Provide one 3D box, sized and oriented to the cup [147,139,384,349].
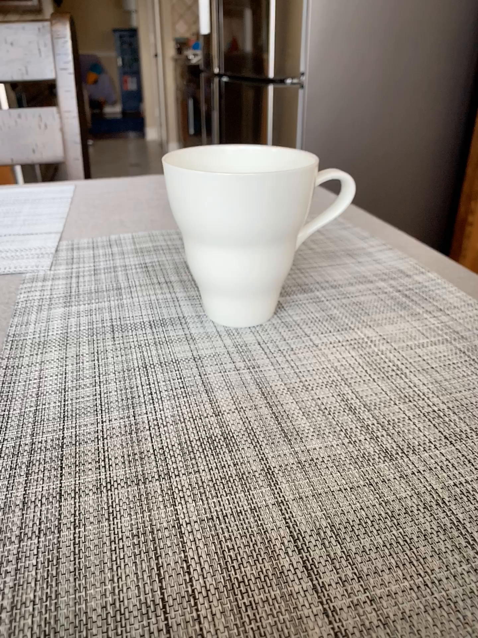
[{"bbox_3d":[0.010,-0.056,0.330,0.121,0.098,0.099,-8,30,-14],"label":"cup"}]
